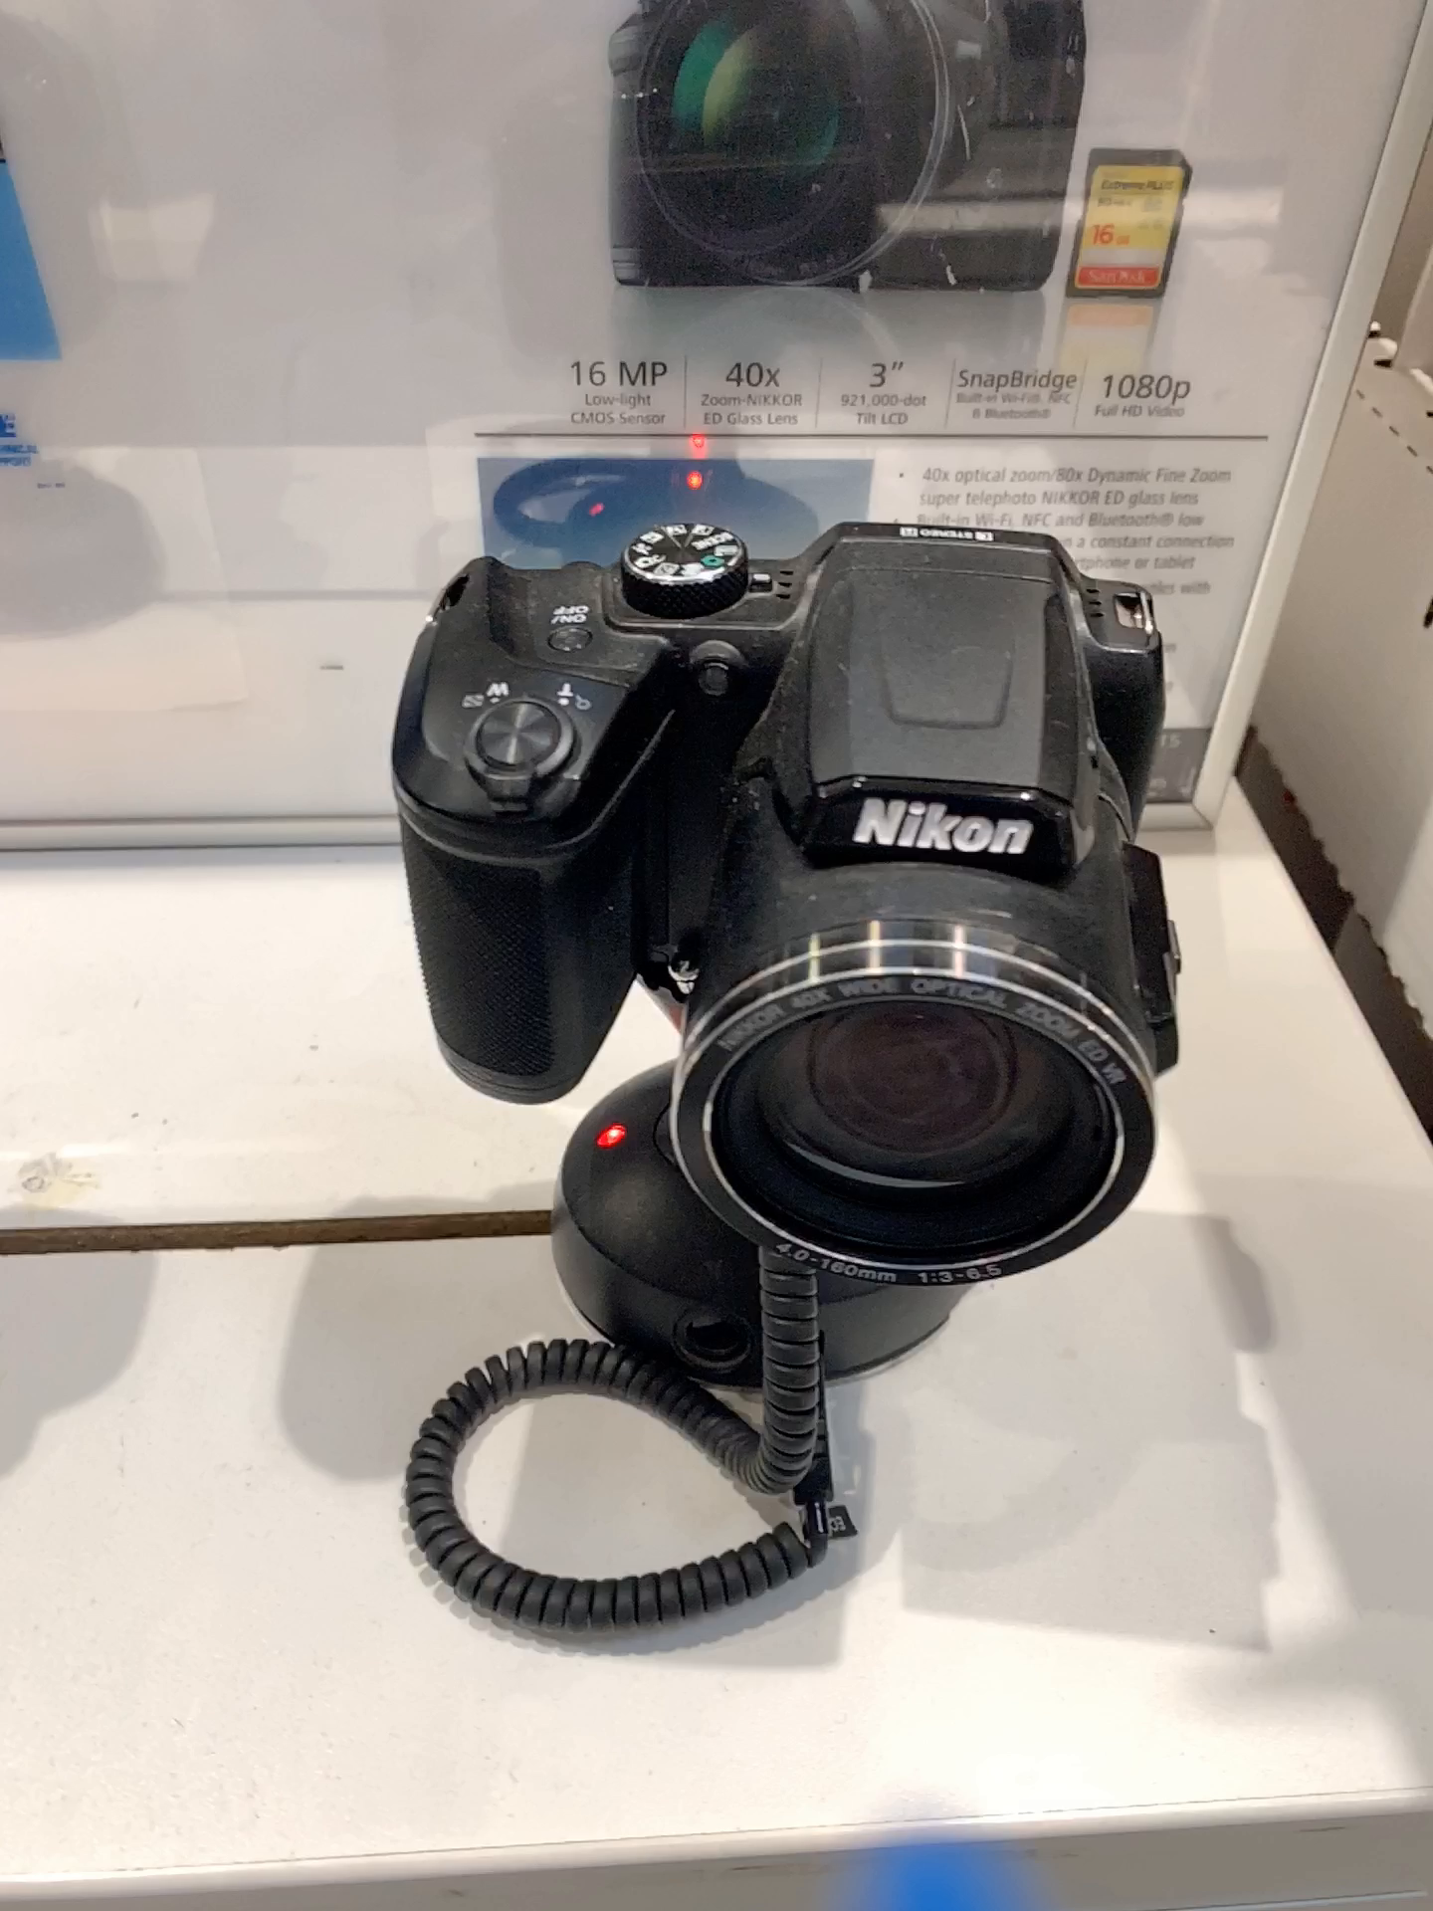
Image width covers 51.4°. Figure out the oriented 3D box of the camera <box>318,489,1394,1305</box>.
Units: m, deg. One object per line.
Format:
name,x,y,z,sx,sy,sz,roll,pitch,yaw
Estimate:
camera,0.014,-0.006,0.204,0.110,0.089,0.061,2,42,0
